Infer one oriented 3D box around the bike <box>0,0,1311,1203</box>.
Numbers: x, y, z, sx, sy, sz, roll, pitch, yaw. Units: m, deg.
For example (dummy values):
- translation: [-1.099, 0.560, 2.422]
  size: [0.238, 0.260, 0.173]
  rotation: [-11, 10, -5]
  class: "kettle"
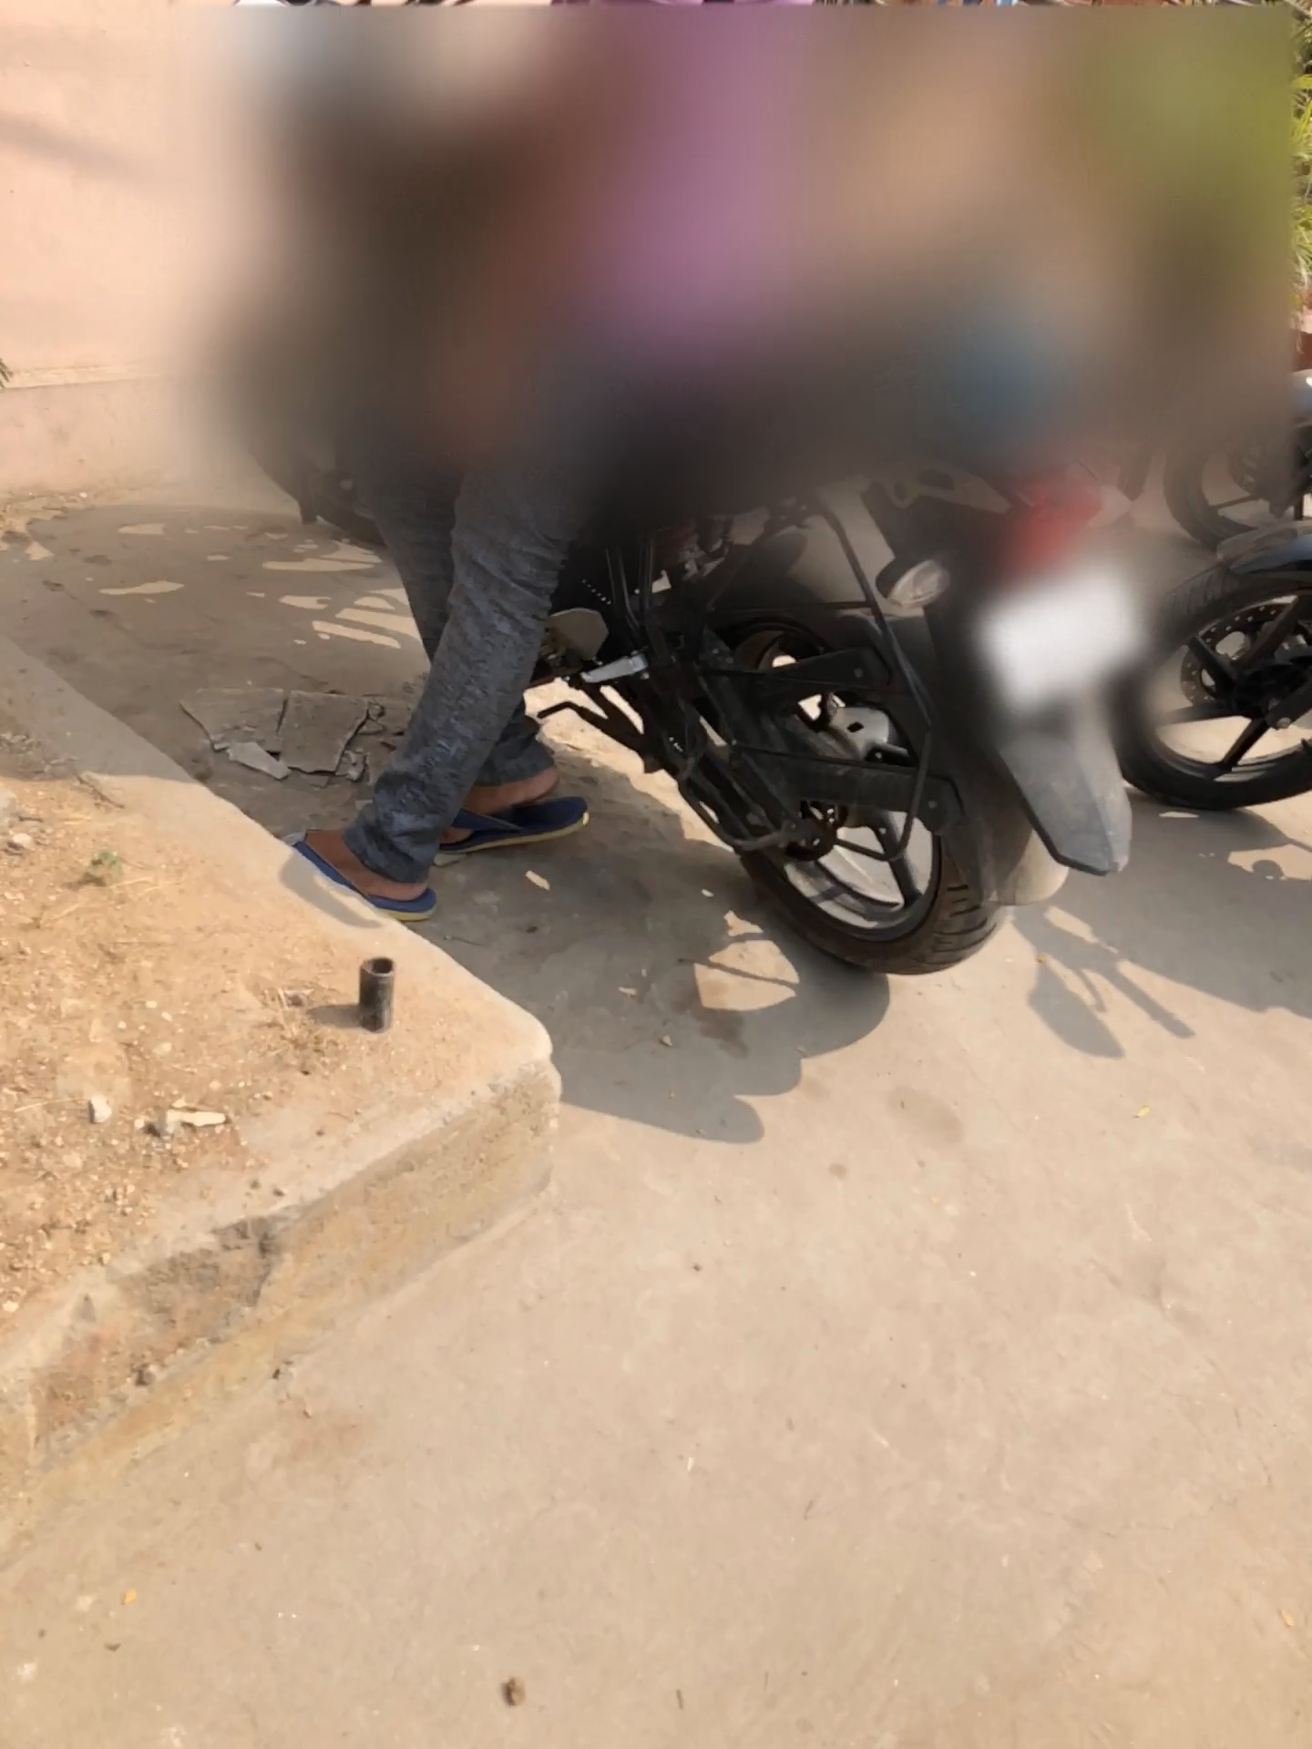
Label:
- translation: [-0.301, -0.777, 1.905]
  size: [0.813, 1.222, 1.826]
  rotation: [-21, 47, -41]
  class: "bike"
